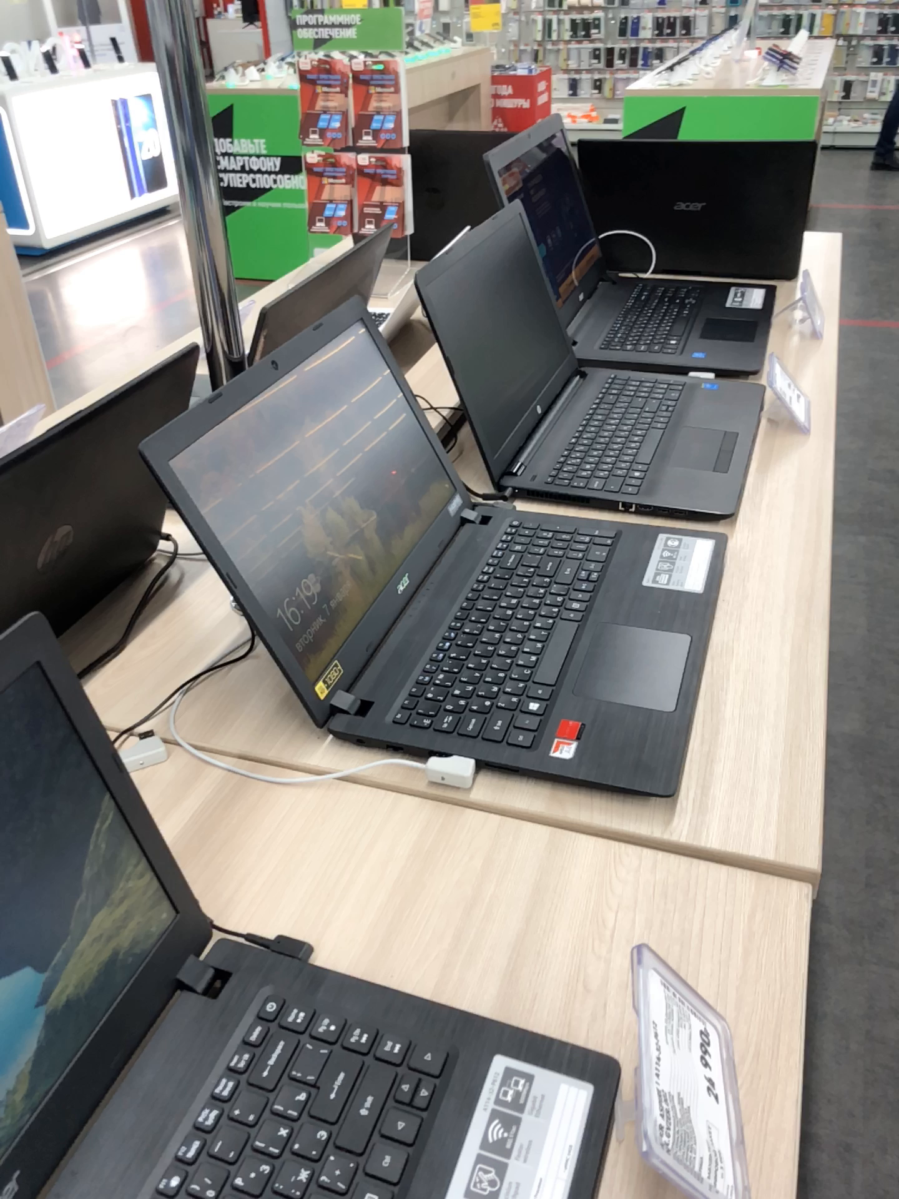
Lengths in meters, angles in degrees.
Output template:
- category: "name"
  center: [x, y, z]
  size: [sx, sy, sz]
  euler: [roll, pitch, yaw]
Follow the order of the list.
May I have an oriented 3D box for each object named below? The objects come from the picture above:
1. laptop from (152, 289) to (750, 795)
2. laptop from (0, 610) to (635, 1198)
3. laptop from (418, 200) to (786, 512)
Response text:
- category: "laptop"
  center: [0.034, -0.085, 0.807]
  size: [0.367, 0.208, 0.375]
  euler: [9, 35, 17]
- category: "laptop"
  center: [-0.114, 0.200, 0.366]
  size: [0.300, 0.214, 0.307]
  euler: [10, 34, 17]
- category: "laptop"
  center: [0.188, -0.304, 1.131]
  size: [0.338, 0.212, 0.379]
  euler: [9, 34, 19]
